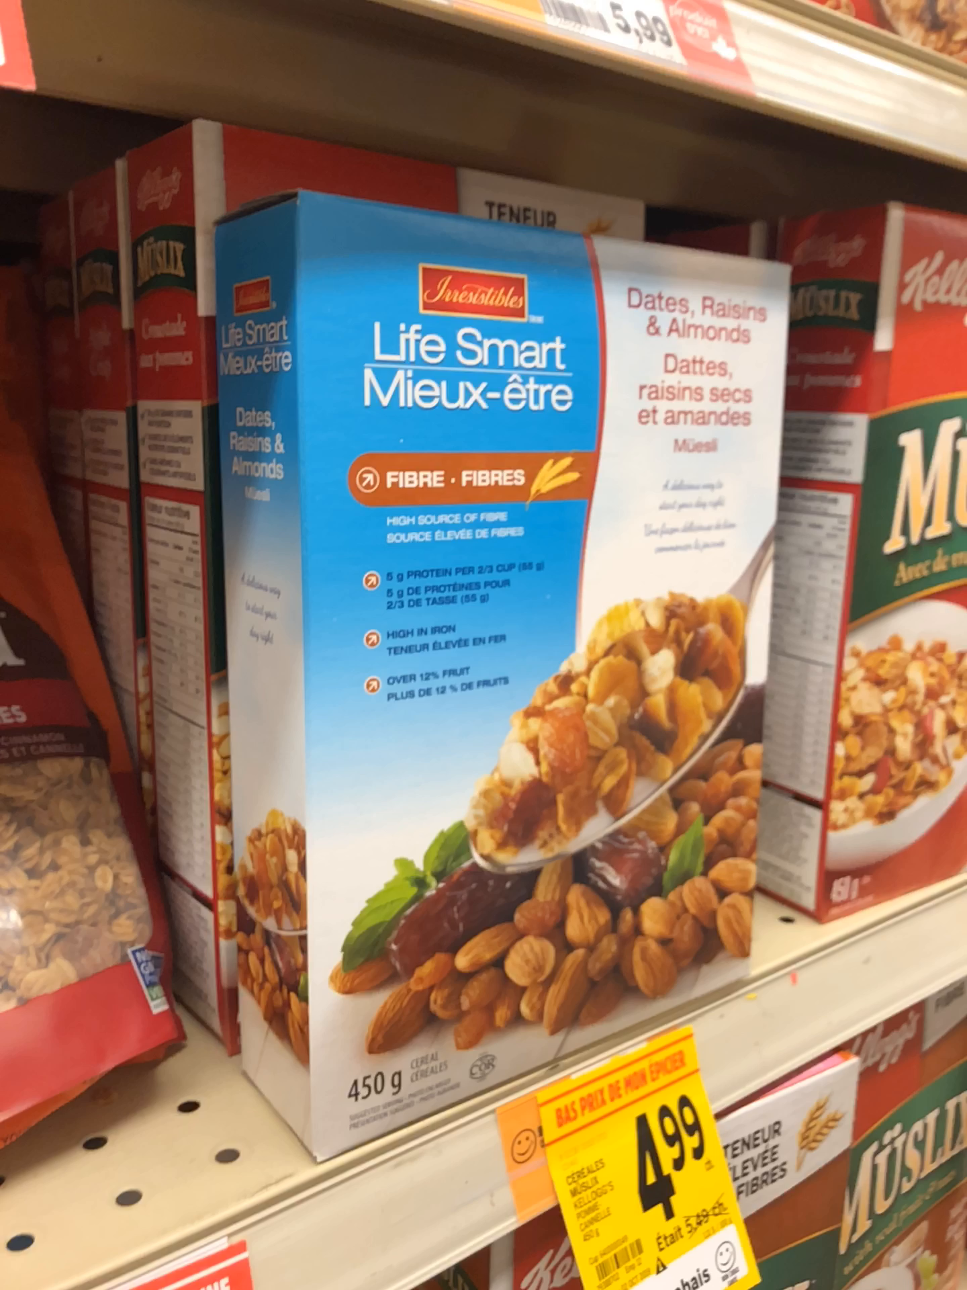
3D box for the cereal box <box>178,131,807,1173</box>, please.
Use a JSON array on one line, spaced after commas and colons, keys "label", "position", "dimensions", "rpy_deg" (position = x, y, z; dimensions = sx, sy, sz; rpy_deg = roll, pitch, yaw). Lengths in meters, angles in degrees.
[{"label": "cereal box", "position": [0.007, -0.001, 0.311], "dimensions": [0.170, 0.239, 0.050], "rpy_deg": [-7, 15, -35]}]
